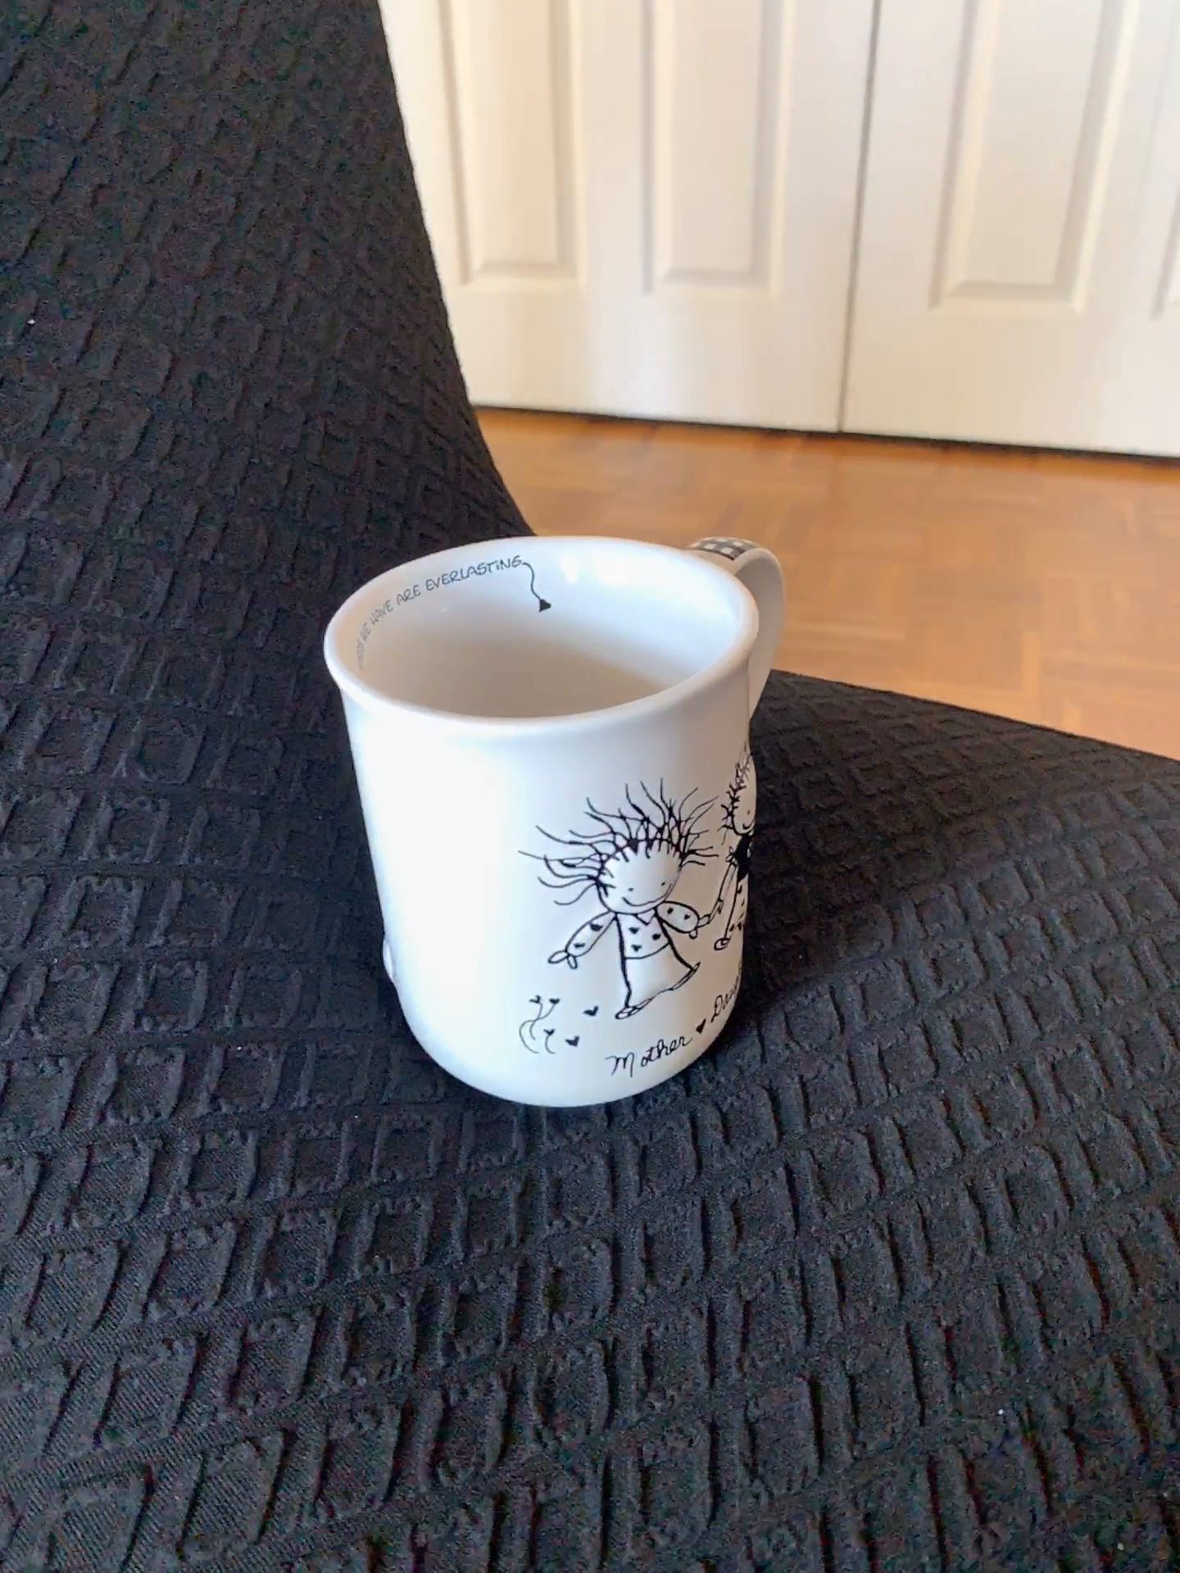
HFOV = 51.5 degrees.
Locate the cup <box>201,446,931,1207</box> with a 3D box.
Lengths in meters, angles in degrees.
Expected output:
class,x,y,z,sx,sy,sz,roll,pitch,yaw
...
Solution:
class,x,y,z,sx,sy,sz,roll,pitch,yaw
cup,0.002,-0.002,0.309,0.100,0.109,0.140,23,42,31
